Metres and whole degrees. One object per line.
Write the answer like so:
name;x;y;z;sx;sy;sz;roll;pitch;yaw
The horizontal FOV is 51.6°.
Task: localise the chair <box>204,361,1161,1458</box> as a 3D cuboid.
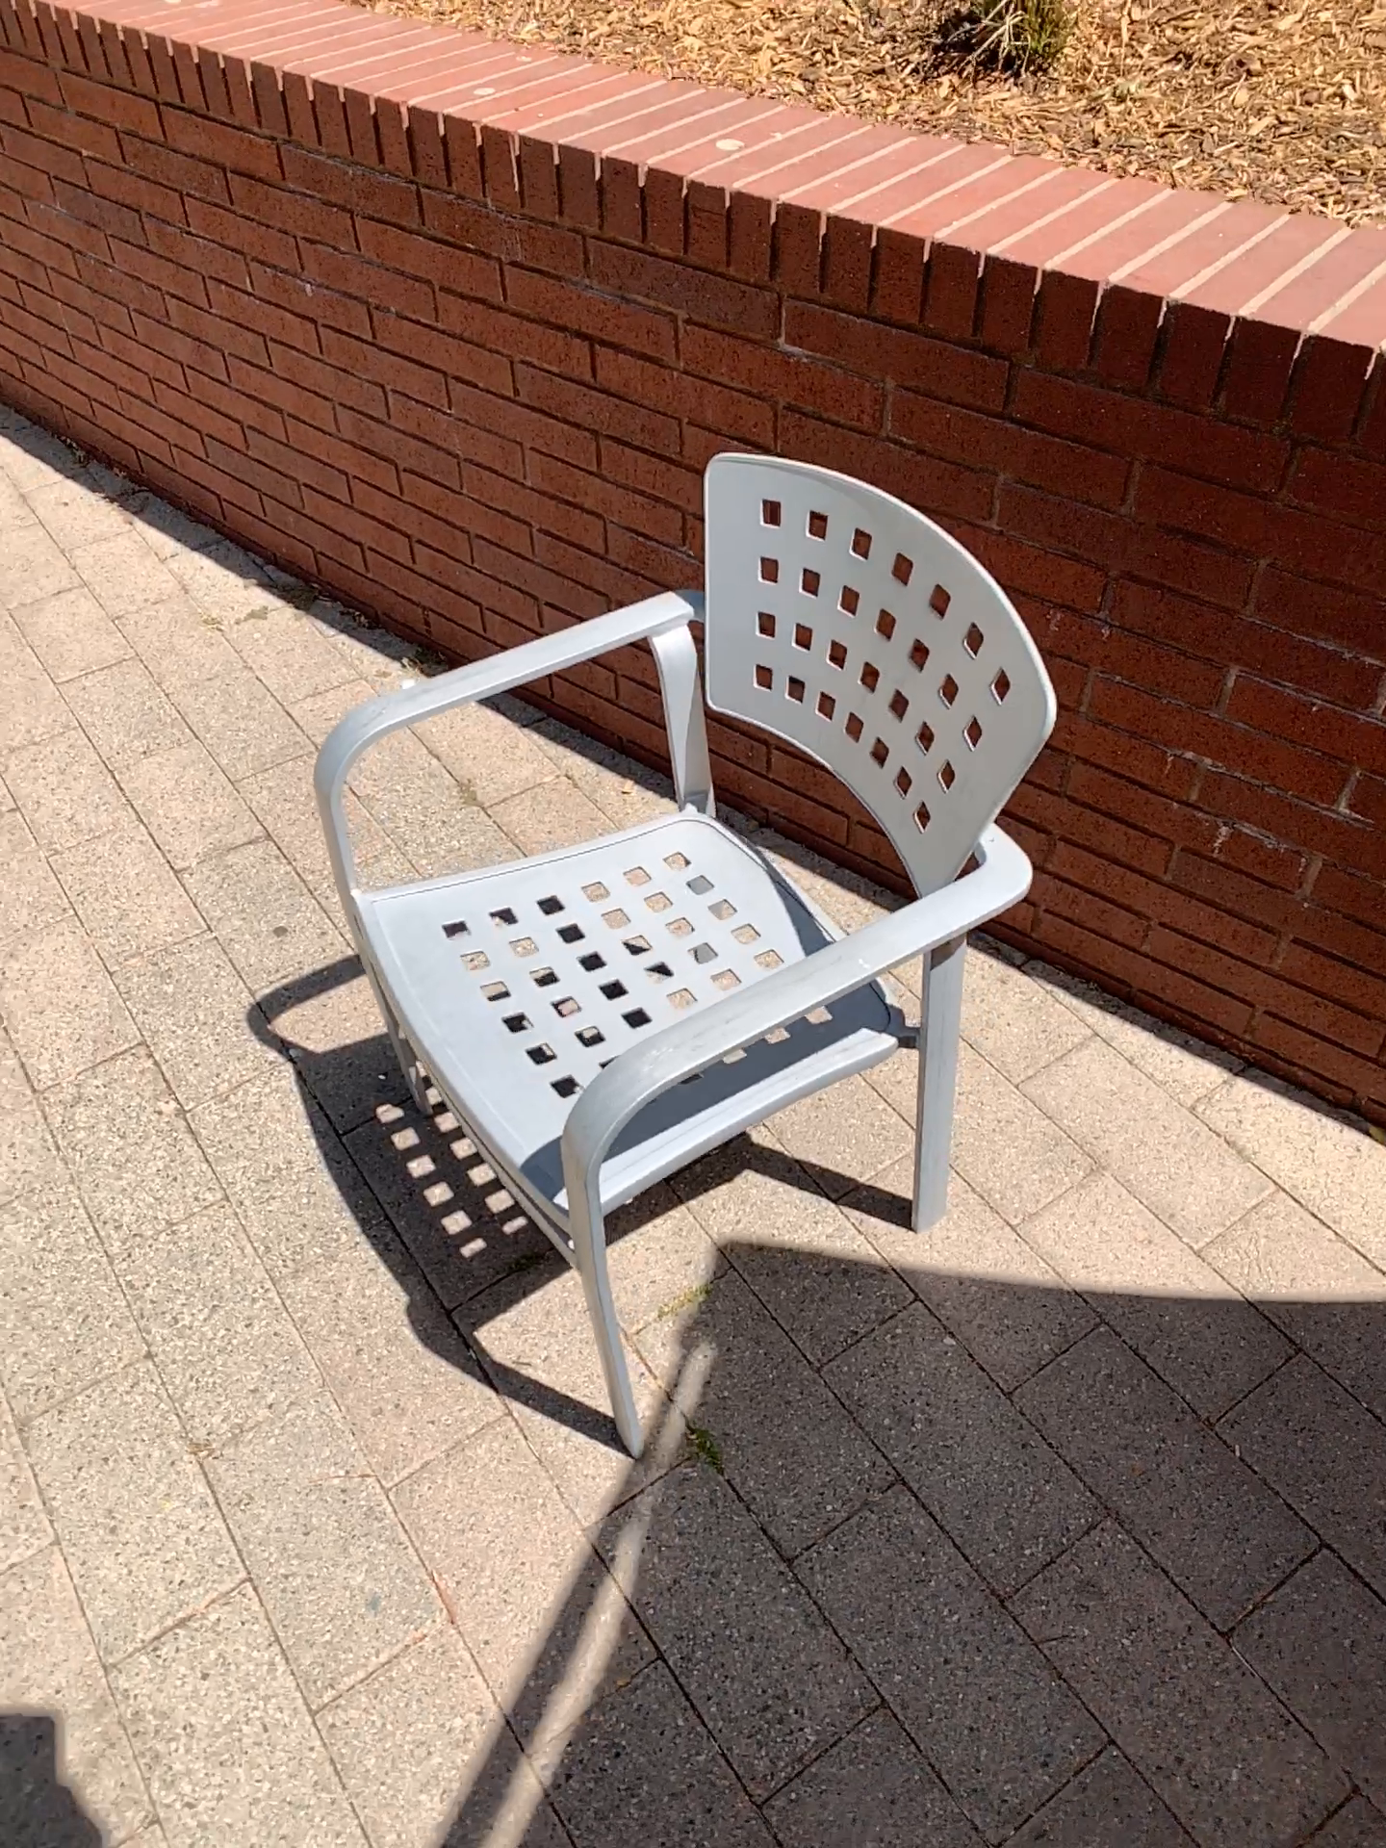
chair;-0.028;-0.020;1.336;0.498;0.698;0.564;-26;50;-23
